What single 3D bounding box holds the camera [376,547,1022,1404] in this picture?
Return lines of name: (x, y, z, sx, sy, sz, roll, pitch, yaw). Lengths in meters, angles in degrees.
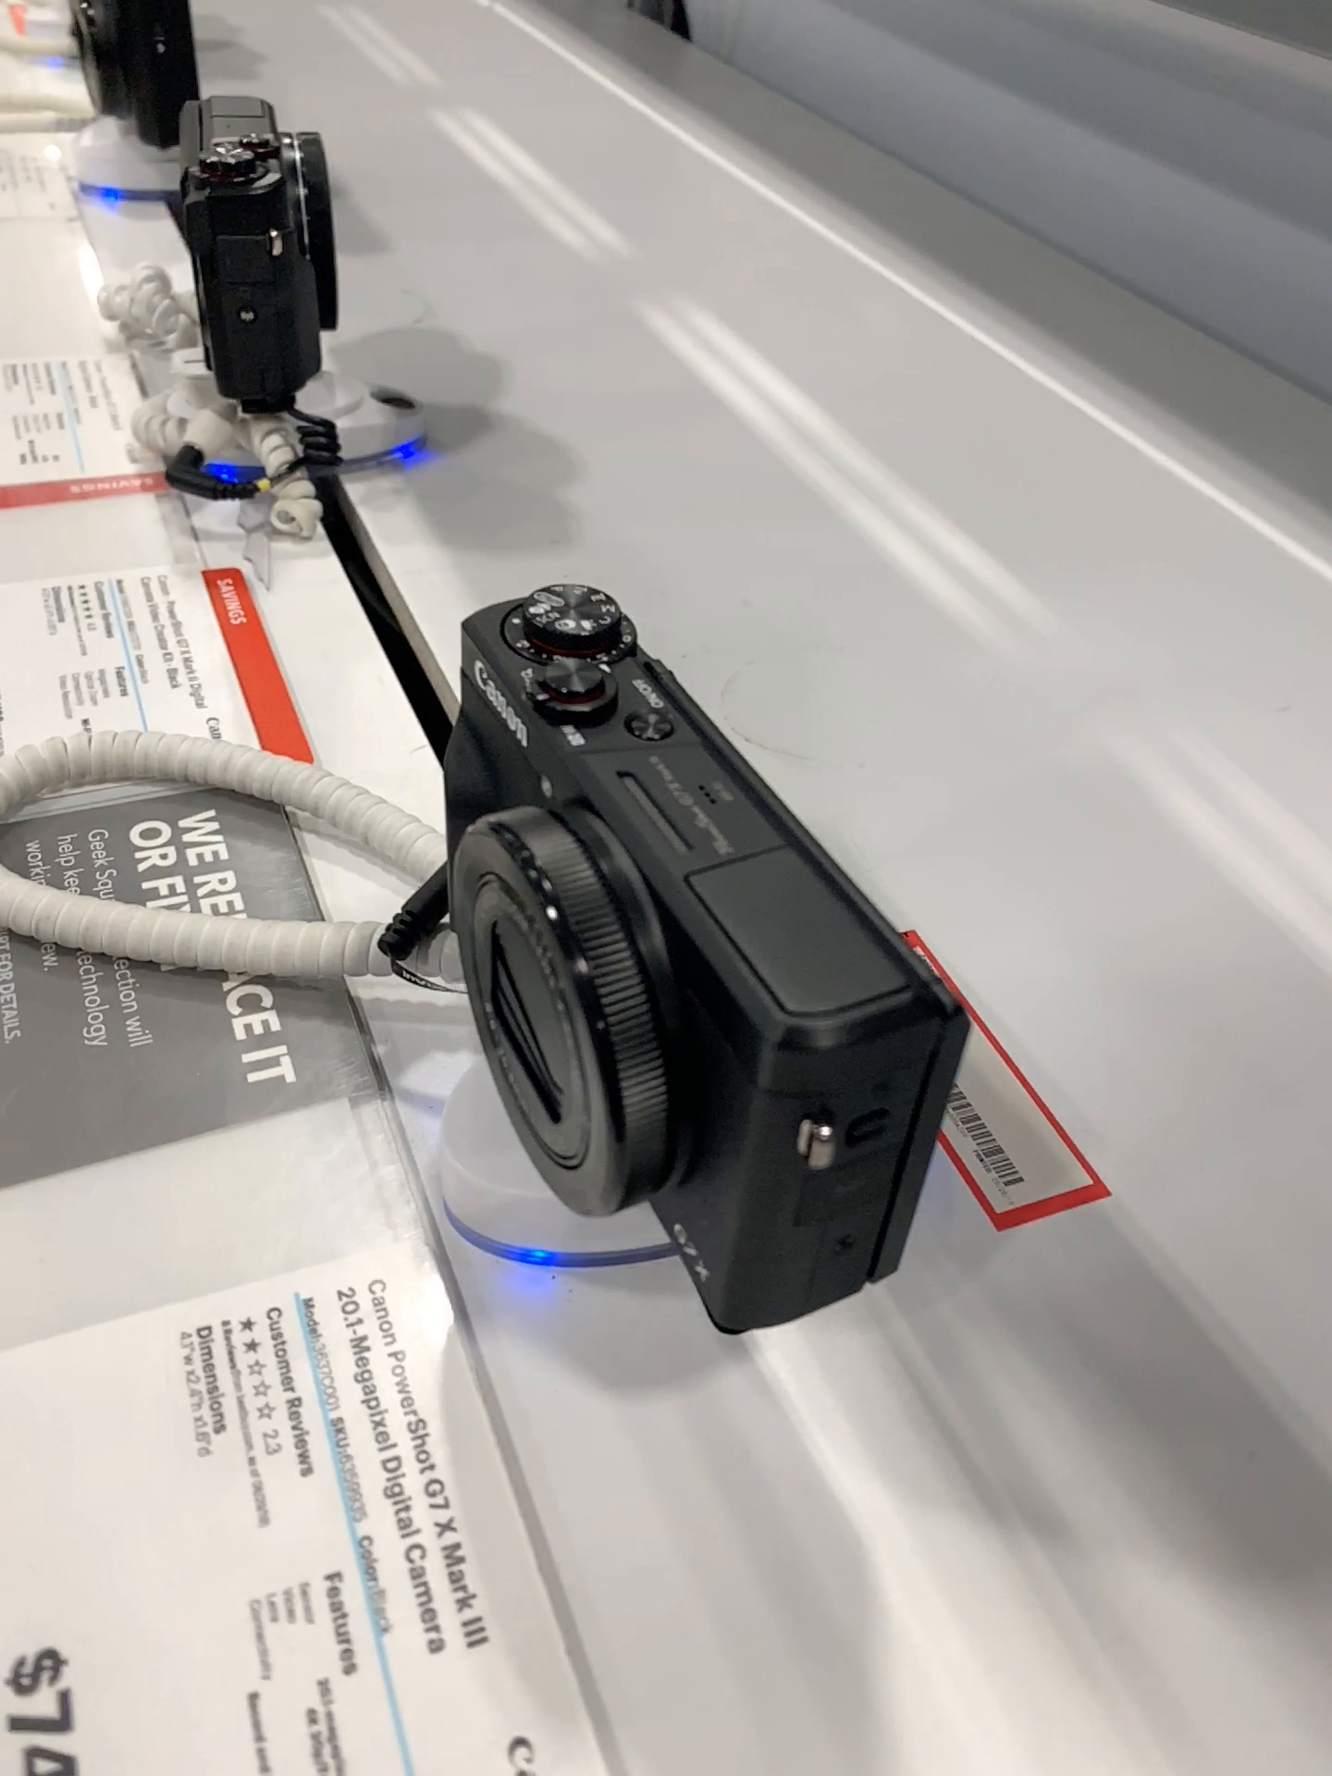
camera: (-0.005, 0.006, 0.205, 0.040, 0.062, 0.110, -15, 46, -23)
